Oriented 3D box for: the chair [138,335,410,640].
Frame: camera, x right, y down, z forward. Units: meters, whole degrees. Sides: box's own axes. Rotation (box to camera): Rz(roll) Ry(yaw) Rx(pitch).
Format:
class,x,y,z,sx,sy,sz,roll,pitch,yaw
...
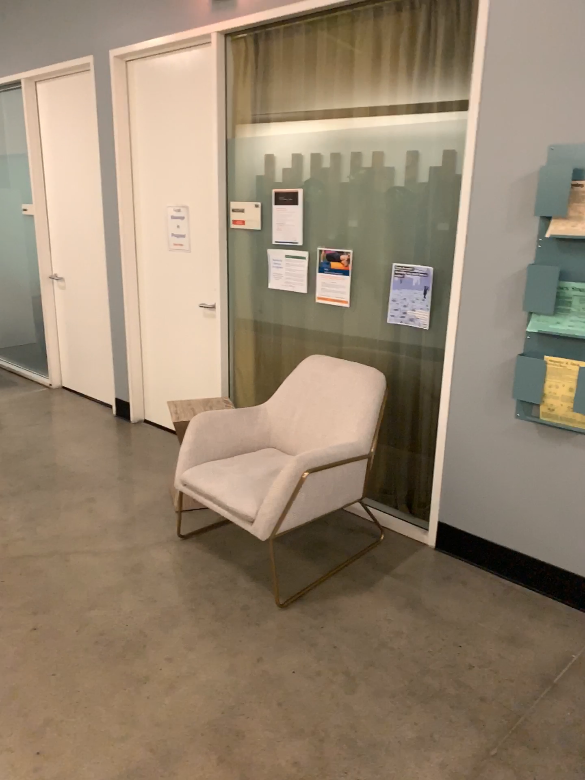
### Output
class,x,y,z,sx,sy,sz,roll,pitch,yaw
chair,-0.078,0.328,2.685,0.783,0.926,0.871,16,22,41
